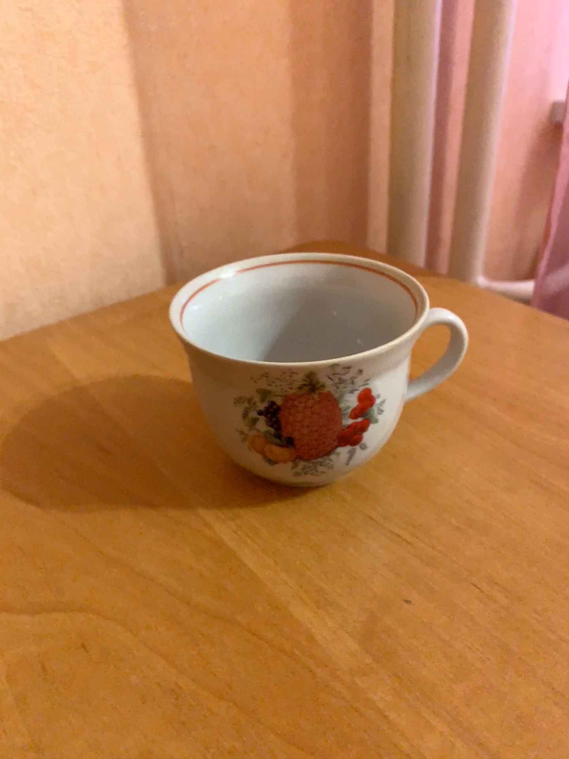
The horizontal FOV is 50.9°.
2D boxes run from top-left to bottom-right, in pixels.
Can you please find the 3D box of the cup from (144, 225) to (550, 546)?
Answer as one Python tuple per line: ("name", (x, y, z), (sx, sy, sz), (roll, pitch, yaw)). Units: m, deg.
("cup", (0.017, -0.007, 0.214), (0.108, 0.056, 0.083), (-15, 34, -17))
